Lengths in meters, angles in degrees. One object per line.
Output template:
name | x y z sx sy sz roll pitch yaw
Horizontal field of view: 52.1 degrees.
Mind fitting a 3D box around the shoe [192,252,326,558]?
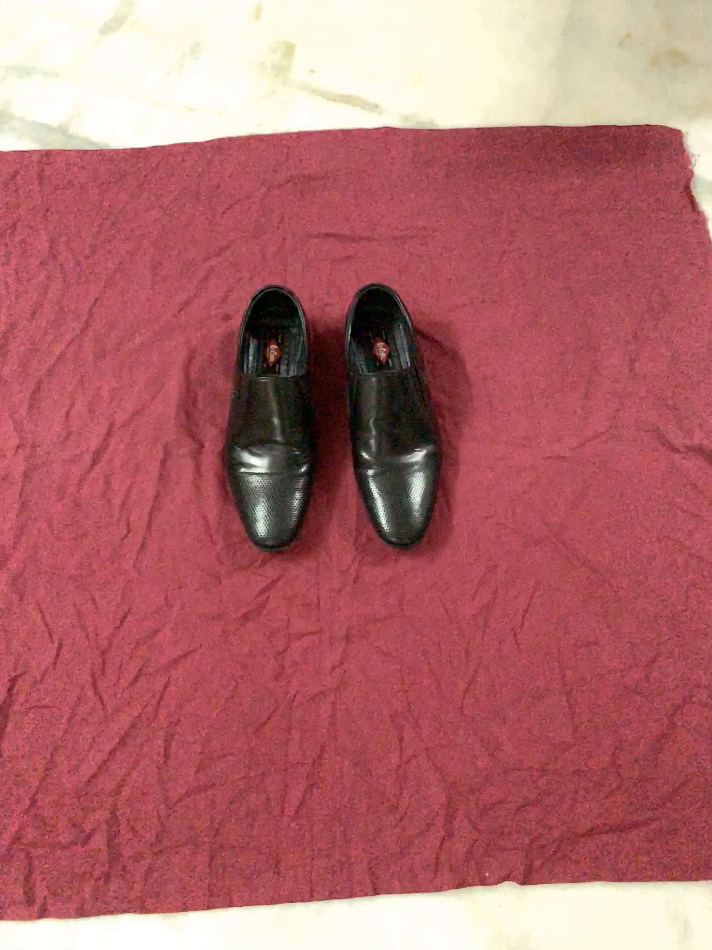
shoe | -0.091 -0.075 0.756 0.100 0.100 0.301 2 68 2

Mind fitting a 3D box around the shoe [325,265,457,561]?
shoe | 0.031 -0.068 0.770 0.100 0.100 0.291 -5 68 -1
